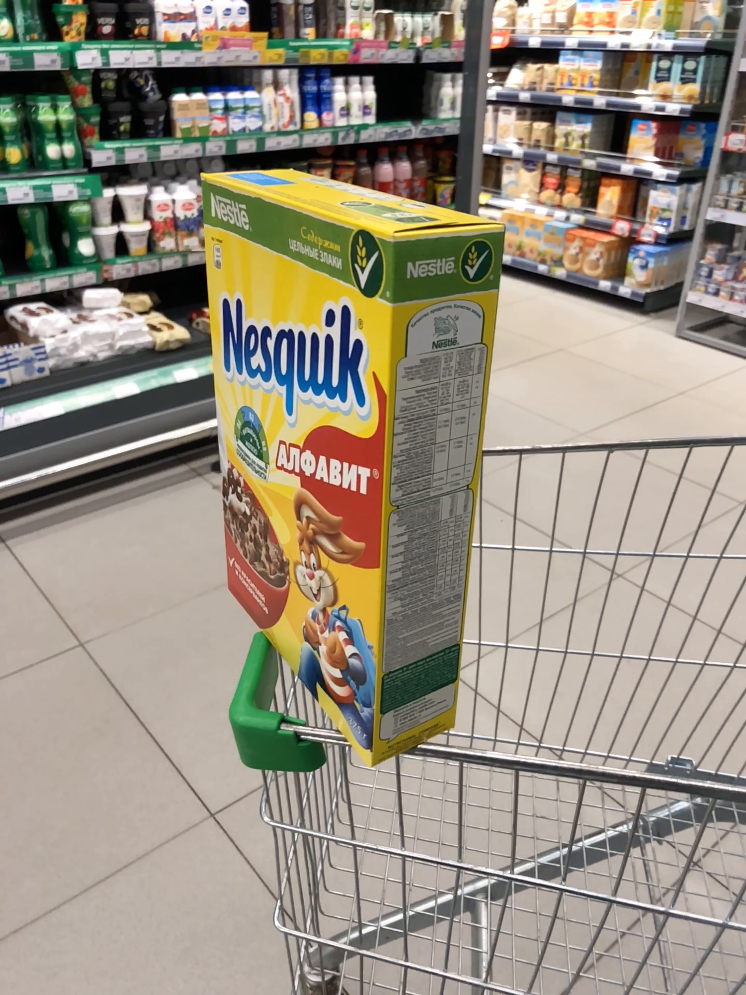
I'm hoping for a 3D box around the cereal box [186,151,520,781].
[{"bbox_3d":[-0.027,-0.025,0.457,0.060,0.288,0.201,-16,33,-30],"label":"cereal box"}]
